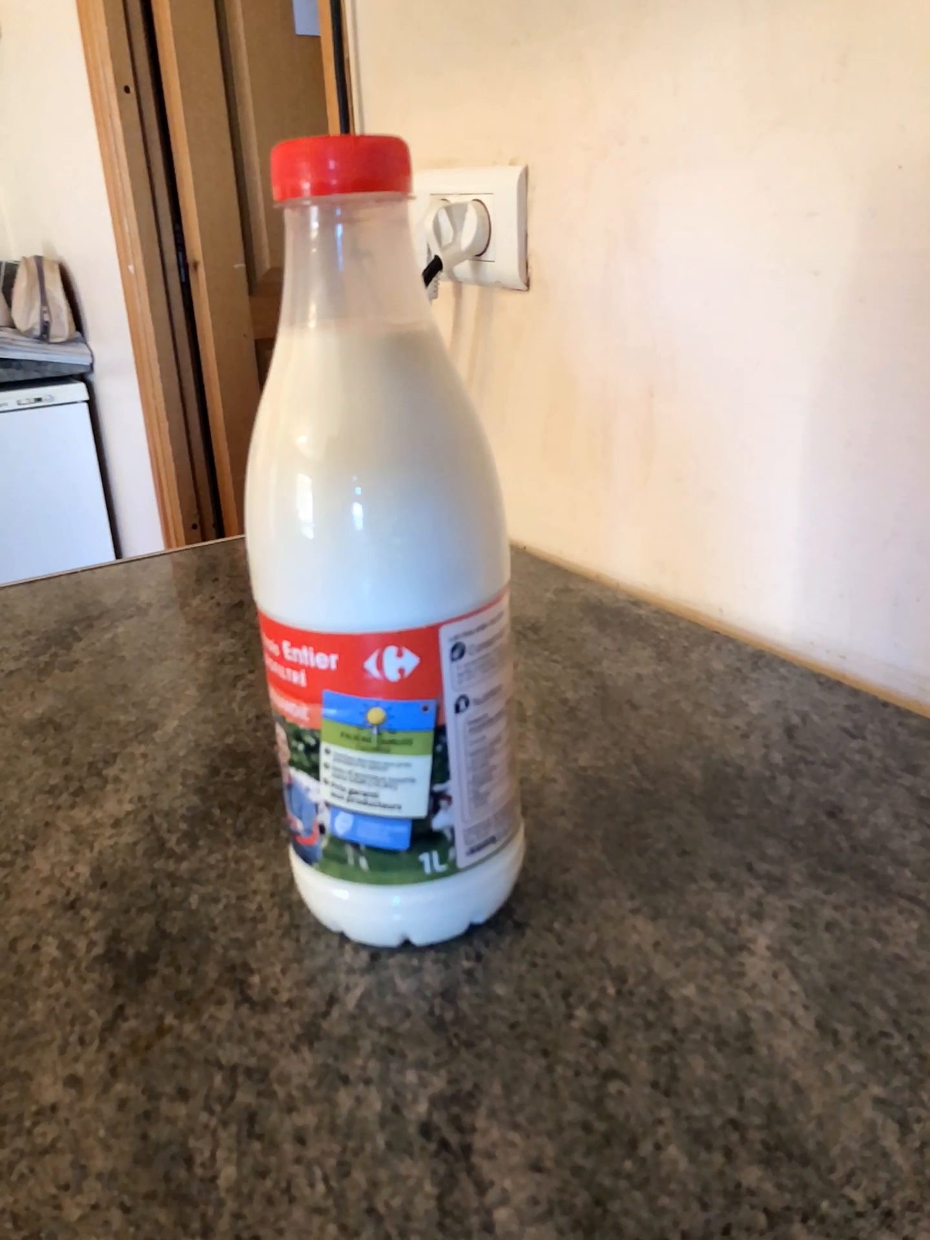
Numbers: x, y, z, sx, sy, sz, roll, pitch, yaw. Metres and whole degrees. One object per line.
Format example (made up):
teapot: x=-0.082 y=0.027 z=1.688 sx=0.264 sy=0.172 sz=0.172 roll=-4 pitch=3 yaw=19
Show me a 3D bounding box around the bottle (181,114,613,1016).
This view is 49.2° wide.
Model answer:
bottle: x=-0.014 y=-0.017 z=0.324 sx=0.090 sy=0.249 sz=0.080 roll=16 pitch=27 yaw=42
